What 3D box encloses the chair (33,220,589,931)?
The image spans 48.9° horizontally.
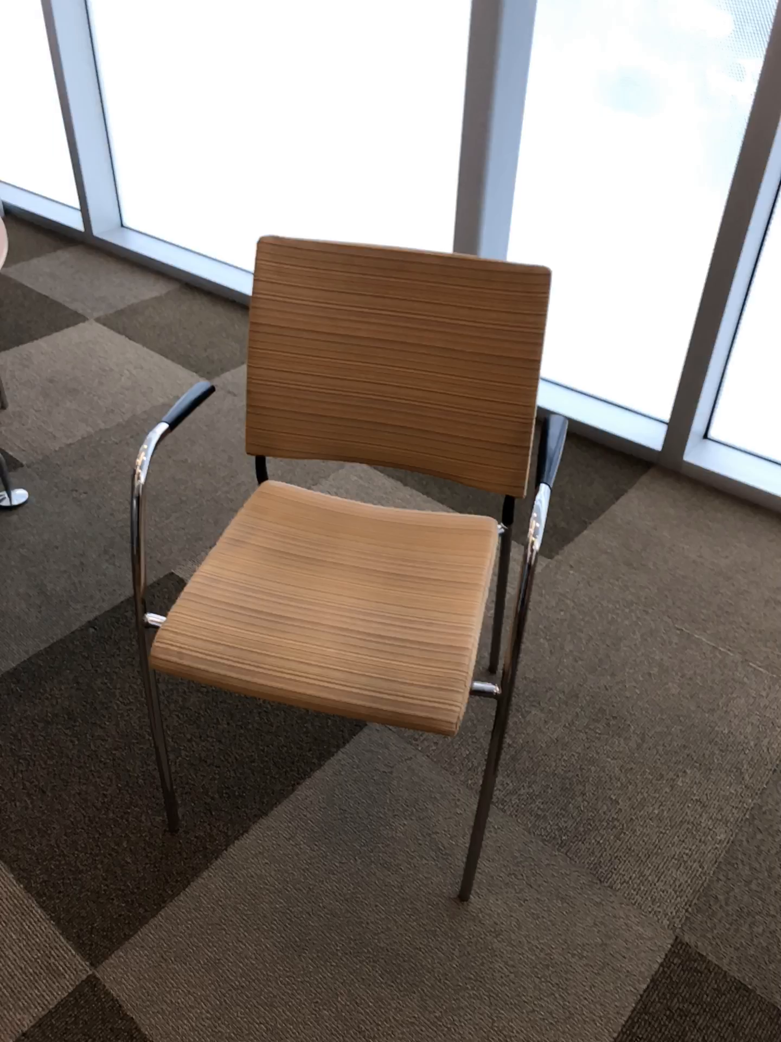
[{"bbox_3d":[-0.050,0.073,1.256,0.515,0.796,0.548,9,38,9],"label":"chair"}]
